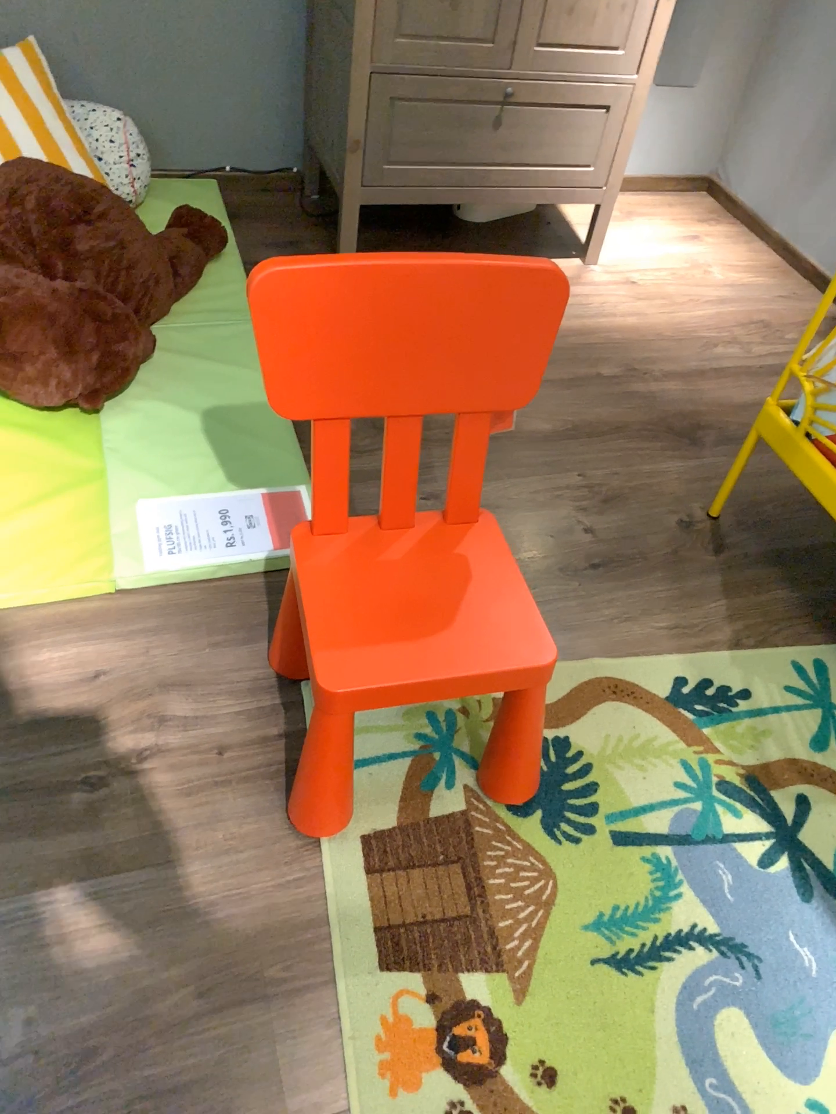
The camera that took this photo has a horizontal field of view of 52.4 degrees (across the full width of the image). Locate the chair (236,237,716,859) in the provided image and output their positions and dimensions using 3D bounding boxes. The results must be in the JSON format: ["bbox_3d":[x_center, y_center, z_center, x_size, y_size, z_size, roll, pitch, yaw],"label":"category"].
[{"bbox_3d":[-0.010,-0.004,1.066,0.380,0.598,0.462,-4,47,-14],"label":"chair"}]
